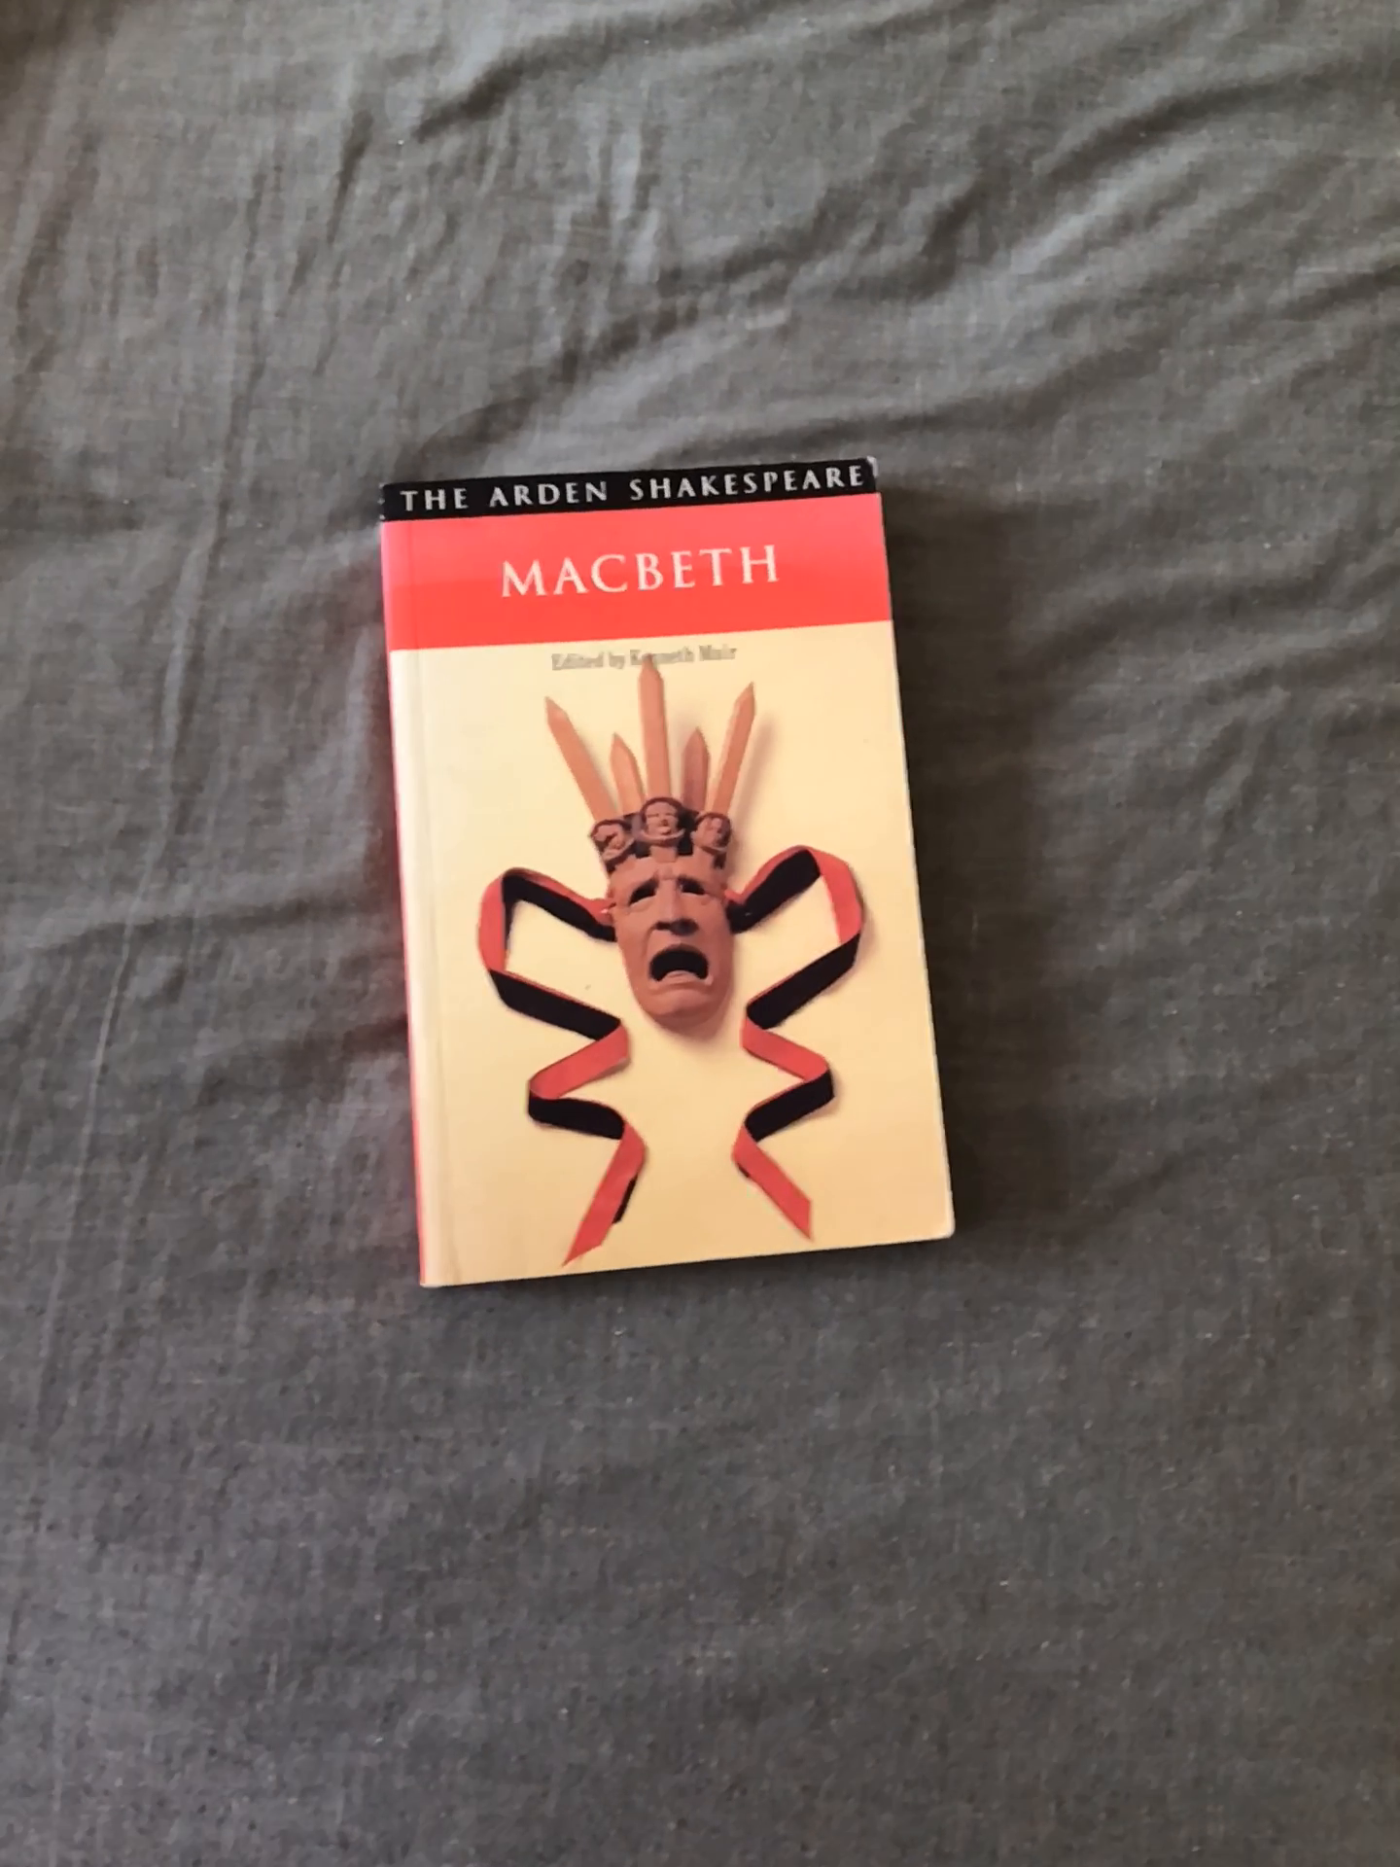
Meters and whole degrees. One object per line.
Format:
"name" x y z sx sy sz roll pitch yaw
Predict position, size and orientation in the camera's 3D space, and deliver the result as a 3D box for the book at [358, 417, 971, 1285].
"book" -0.011 -0.023 0.375 0.130 0.020 0.200 -4 81 -2
